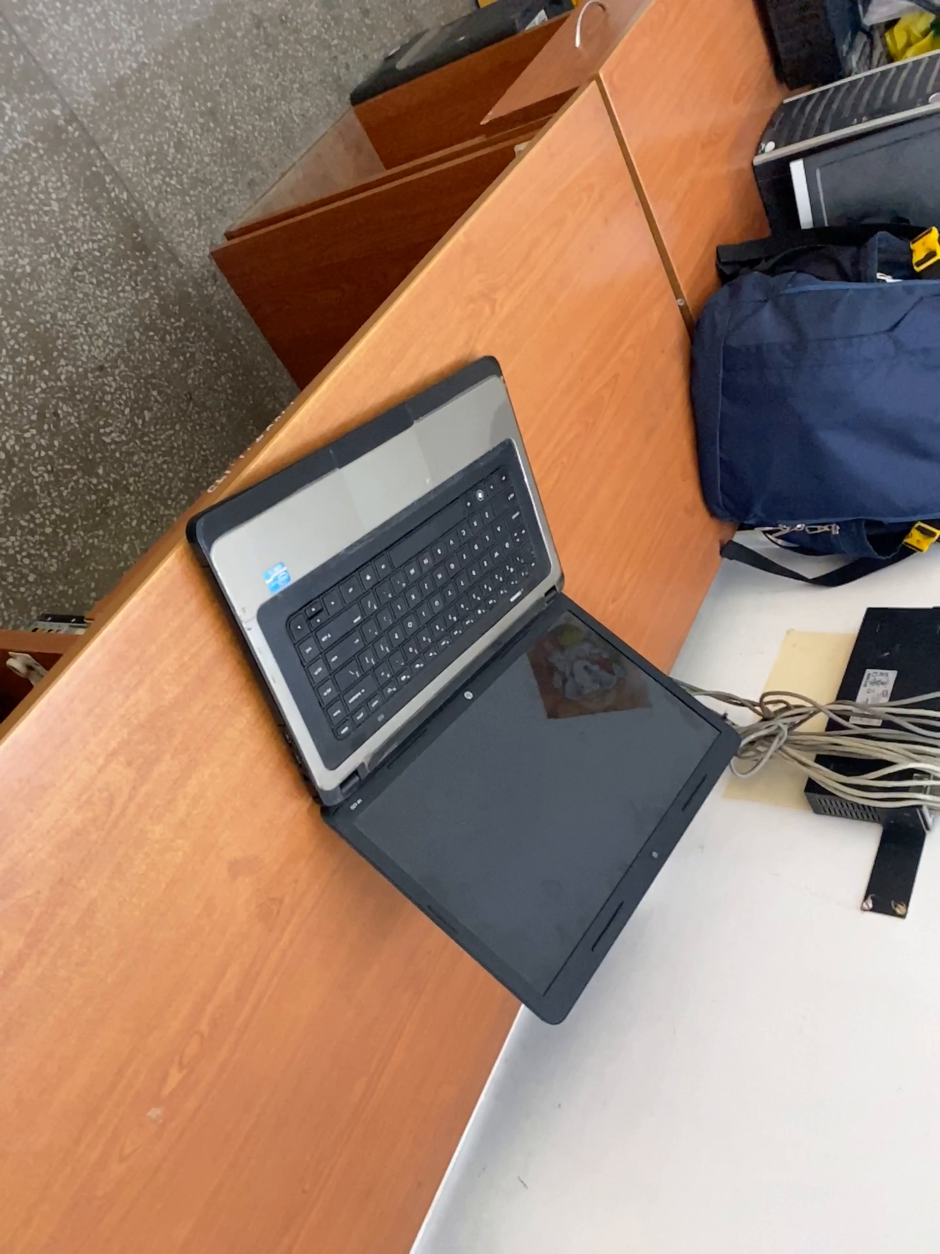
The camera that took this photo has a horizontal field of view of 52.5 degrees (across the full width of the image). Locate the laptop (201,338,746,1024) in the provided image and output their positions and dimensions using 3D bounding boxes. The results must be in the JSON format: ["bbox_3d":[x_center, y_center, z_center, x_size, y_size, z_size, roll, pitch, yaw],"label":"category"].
[{"bbox_3d":[0.049,0.027,0.828,0.384,0.158,0.426,-41,121,-41],"label":"laptop"}]
